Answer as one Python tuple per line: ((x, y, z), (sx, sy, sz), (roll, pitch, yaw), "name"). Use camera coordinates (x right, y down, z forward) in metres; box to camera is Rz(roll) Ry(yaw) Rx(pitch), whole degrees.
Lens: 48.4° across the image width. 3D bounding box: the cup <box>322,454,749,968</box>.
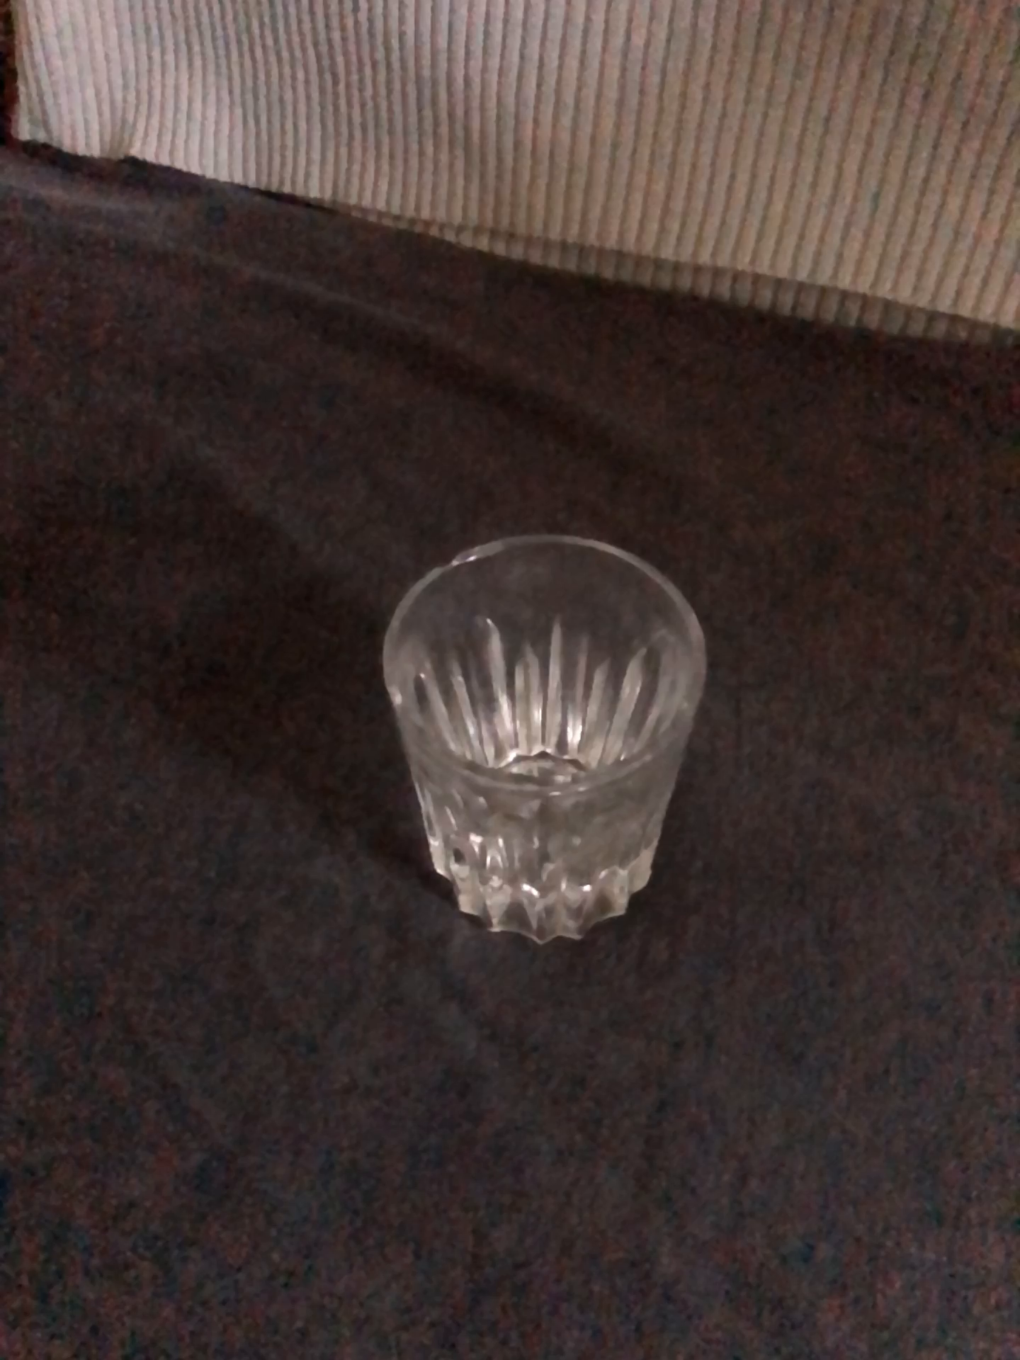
((0.005, 0.008, 0.230), (0.059, 0.078, 0.048), (25, 55, 18), "cup")
